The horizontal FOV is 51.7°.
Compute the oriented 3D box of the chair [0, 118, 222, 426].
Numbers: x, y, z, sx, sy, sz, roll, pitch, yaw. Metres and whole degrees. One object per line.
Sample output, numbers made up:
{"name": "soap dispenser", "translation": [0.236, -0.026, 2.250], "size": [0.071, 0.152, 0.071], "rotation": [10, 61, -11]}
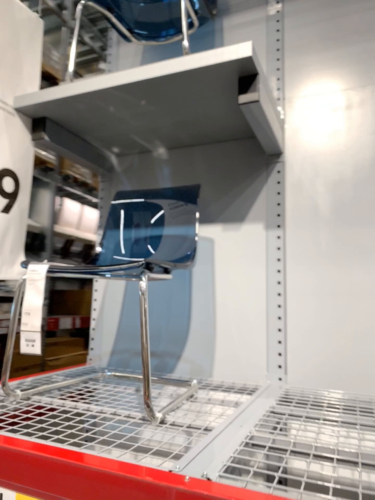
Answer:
{"name": "chair", "translation": [-0.221, 0.078, 1.411], "size": [0.530, 0.842, 0.549], "rotation": [-2, -9, 24]}
